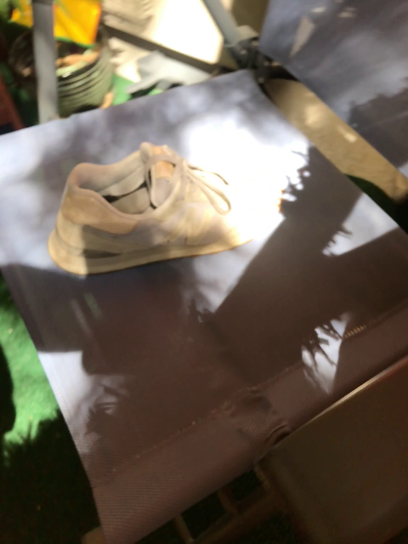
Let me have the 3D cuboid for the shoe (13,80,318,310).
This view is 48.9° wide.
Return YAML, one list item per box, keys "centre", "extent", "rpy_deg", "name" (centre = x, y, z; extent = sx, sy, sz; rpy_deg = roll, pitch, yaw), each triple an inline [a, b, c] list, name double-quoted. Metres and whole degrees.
- centre: [-0.038, -0.087, 0.498]
  extent: [0.287, 0.104, 0.125]
  rpy_deg: [-22, 59, -7]
  name: "shoe"
